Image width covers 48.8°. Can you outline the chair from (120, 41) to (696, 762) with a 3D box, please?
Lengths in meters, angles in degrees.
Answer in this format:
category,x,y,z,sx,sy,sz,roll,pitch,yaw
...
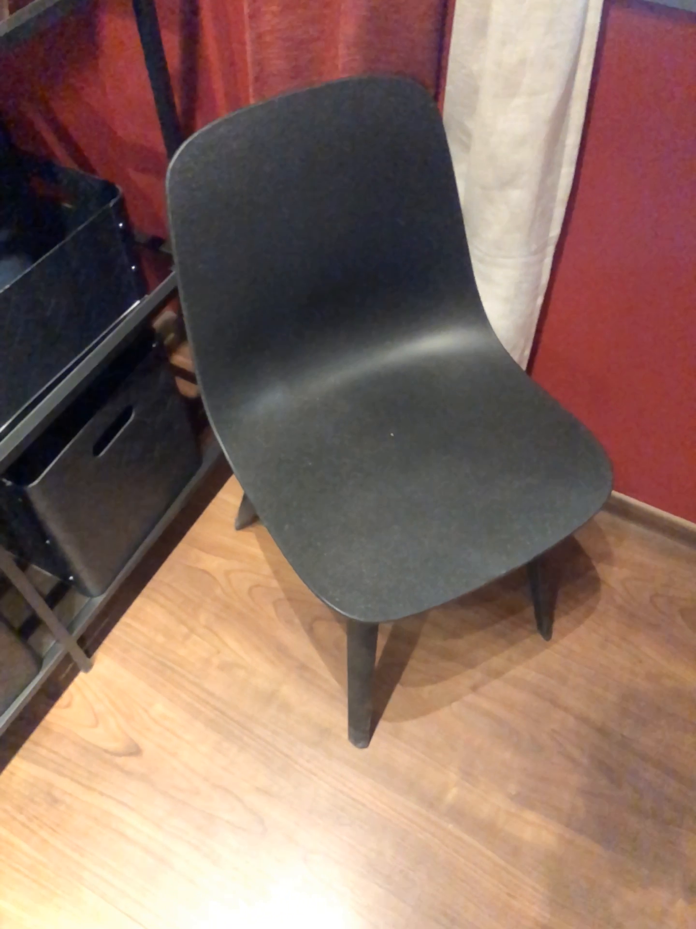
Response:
category,x,y,z,sx,sy,sz,roll,pitch,yaw
chair,0.066,-0.032,1.010,0.410,0.726,0.482,-24,57,-16
